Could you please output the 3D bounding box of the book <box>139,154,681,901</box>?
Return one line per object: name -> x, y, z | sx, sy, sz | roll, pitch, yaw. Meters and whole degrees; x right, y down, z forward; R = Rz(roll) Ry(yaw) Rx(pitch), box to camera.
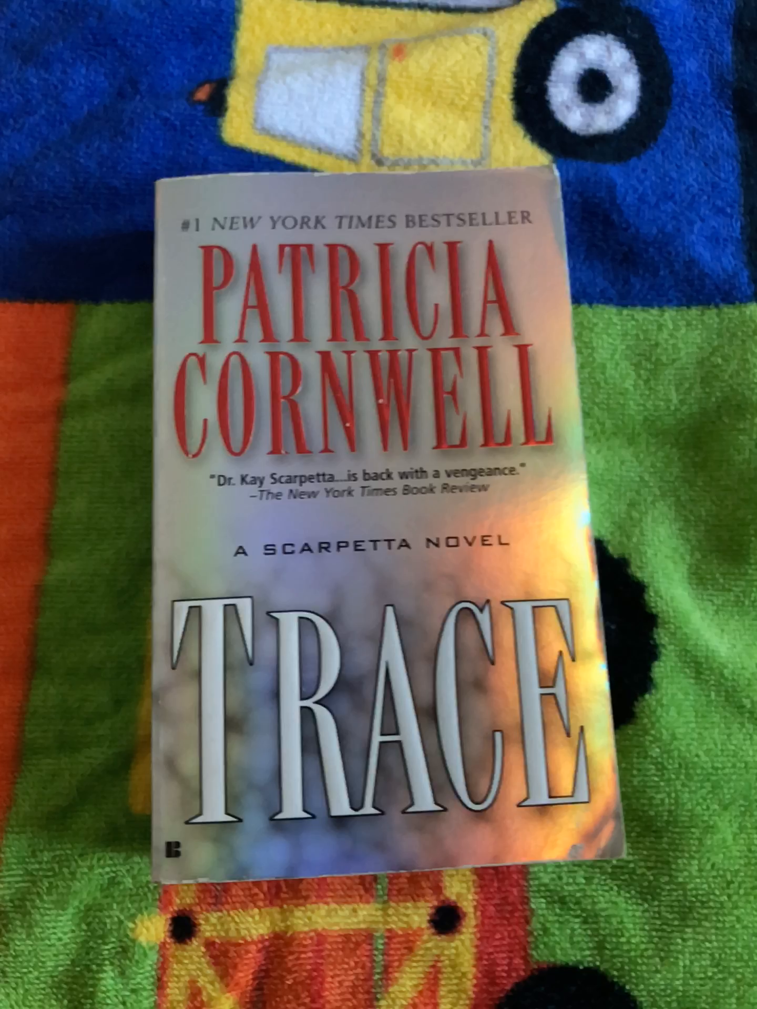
book -> 0.003, -0.001, 0.225 | 0.120, 0.040, 0.180 | -2, 78, -5
